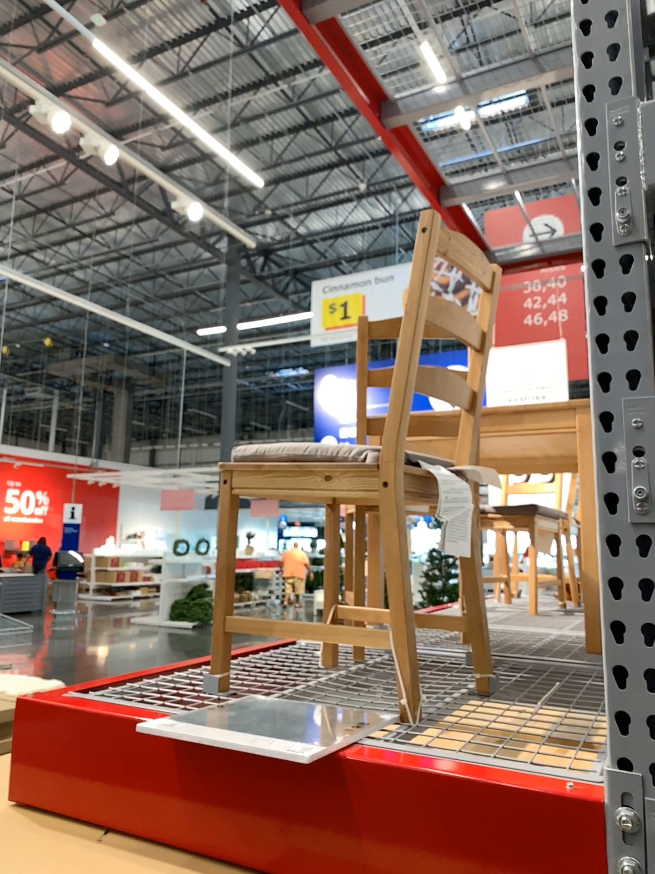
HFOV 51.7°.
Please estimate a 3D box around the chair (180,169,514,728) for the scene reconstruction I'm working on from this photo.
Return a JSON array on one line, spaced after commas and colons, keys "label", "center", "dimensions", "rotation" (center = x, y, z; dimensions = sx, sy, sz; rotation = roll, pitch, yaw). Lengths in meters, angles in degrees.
[{"label": "chair", "center": [0.058, 0.036, 1.404], "dimensions": [0.500, 0.912, 0.439], "rotation": [-5, -12, 32]}]
